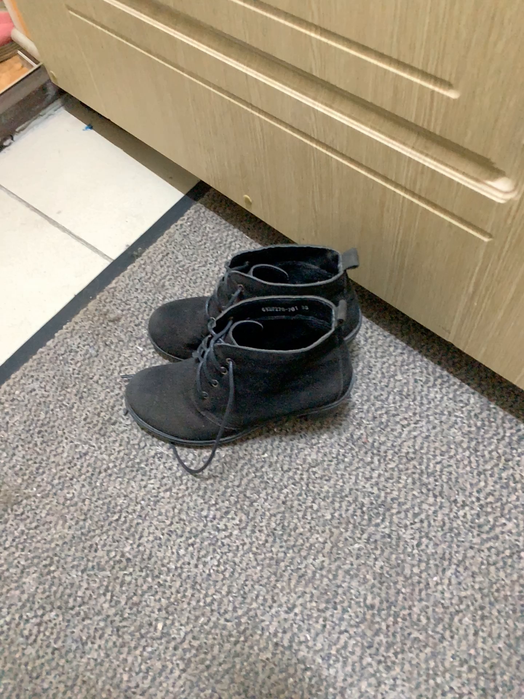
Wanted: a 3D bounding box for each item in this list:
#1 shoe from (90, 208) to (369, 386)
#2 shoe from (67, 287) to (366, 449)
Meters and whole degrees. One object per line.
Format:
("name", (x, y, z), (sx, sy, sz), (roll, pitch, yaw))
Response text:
("shoe", (-0.020, -0.046, 0.525), (0.230, 0.160, 0.080), (5, 60, 9))
("shoe", (-0.028, 0.024, 0.494), (0.230, 0.160, 0.080), (0, 60, 6))
